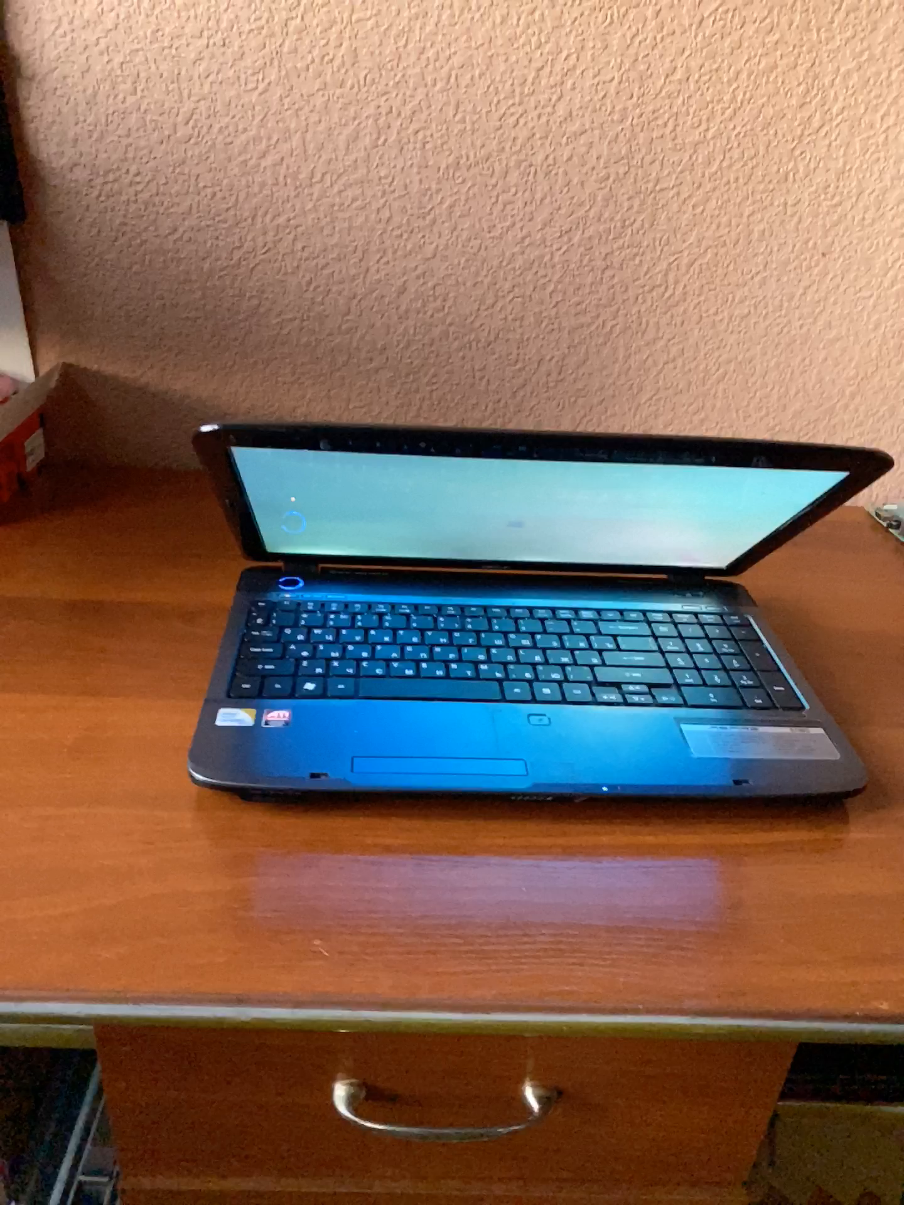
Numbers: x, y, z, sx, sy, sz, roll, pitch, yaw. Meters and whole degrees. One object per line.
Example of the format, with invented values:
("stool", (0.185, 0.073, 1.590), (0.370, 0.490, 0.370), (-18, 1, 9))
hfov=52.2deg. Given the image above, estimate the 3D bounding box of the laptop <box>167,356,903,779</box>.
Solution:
("laptop", (0.047, -0.034, 0.578), (0.380, 0.162, 0.242), (1, 29, -4))
